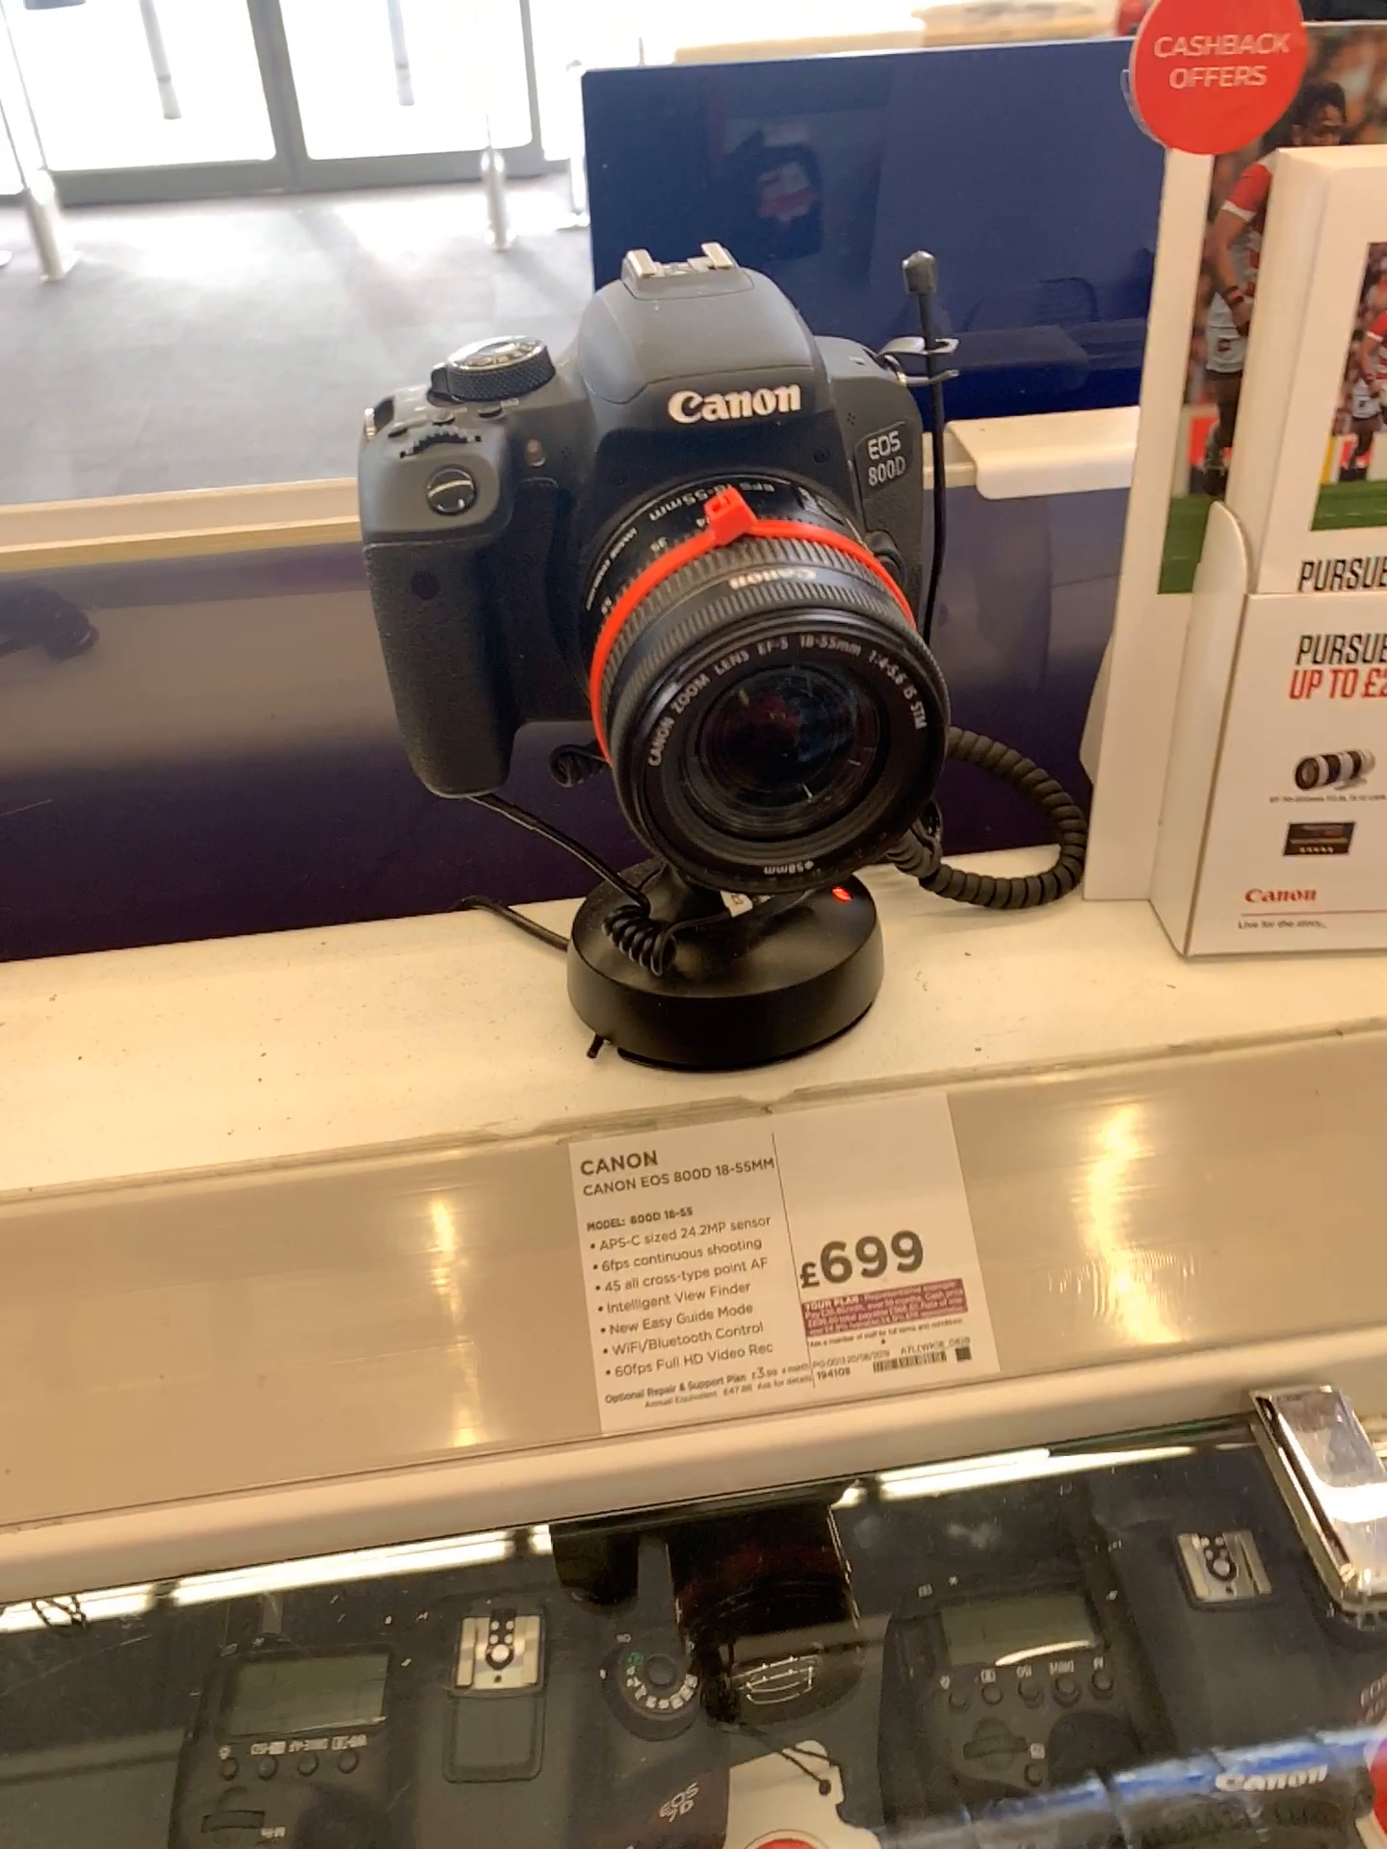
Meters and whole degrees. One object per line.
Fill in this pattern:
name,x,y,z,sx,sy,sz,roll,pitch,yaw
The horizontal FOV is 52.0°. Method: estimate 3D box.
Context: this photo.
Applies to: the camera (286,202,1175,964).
camera,-0.004,-0.083,0.304,0.140,0.089,0.141,-10,40,-10
